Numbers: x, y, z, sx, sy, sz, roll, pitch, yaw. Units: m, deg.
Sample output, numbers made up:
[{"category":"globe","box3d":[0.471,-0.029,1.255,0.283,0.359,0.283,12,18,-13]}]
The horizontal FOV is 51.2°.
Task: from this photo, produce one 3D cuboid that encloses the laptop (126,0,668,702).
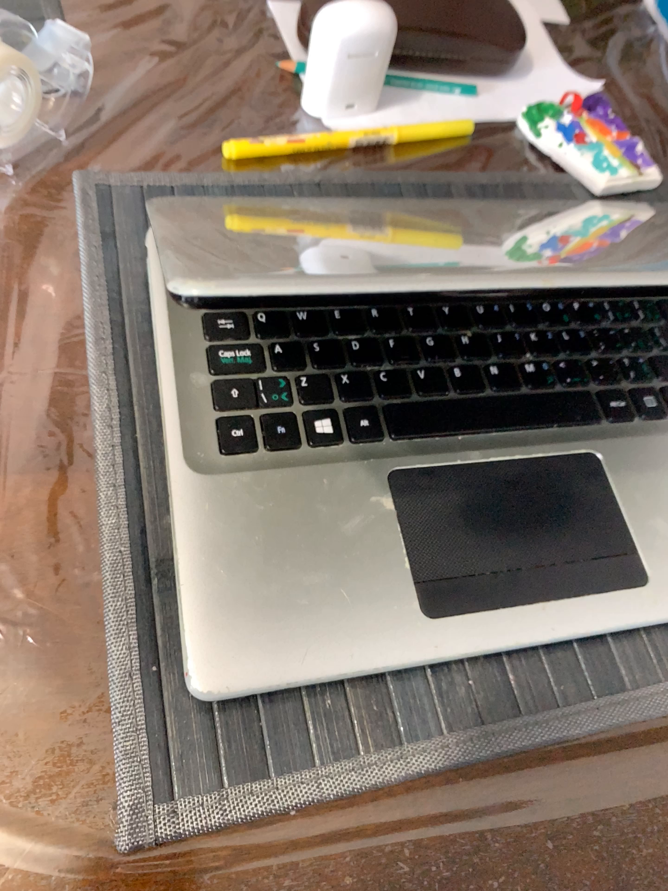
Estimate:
[{"category":"laptop","box3d":[0.106,-0.058,0.280,0.343,0.141,0.225,-5,62,-15]}]
